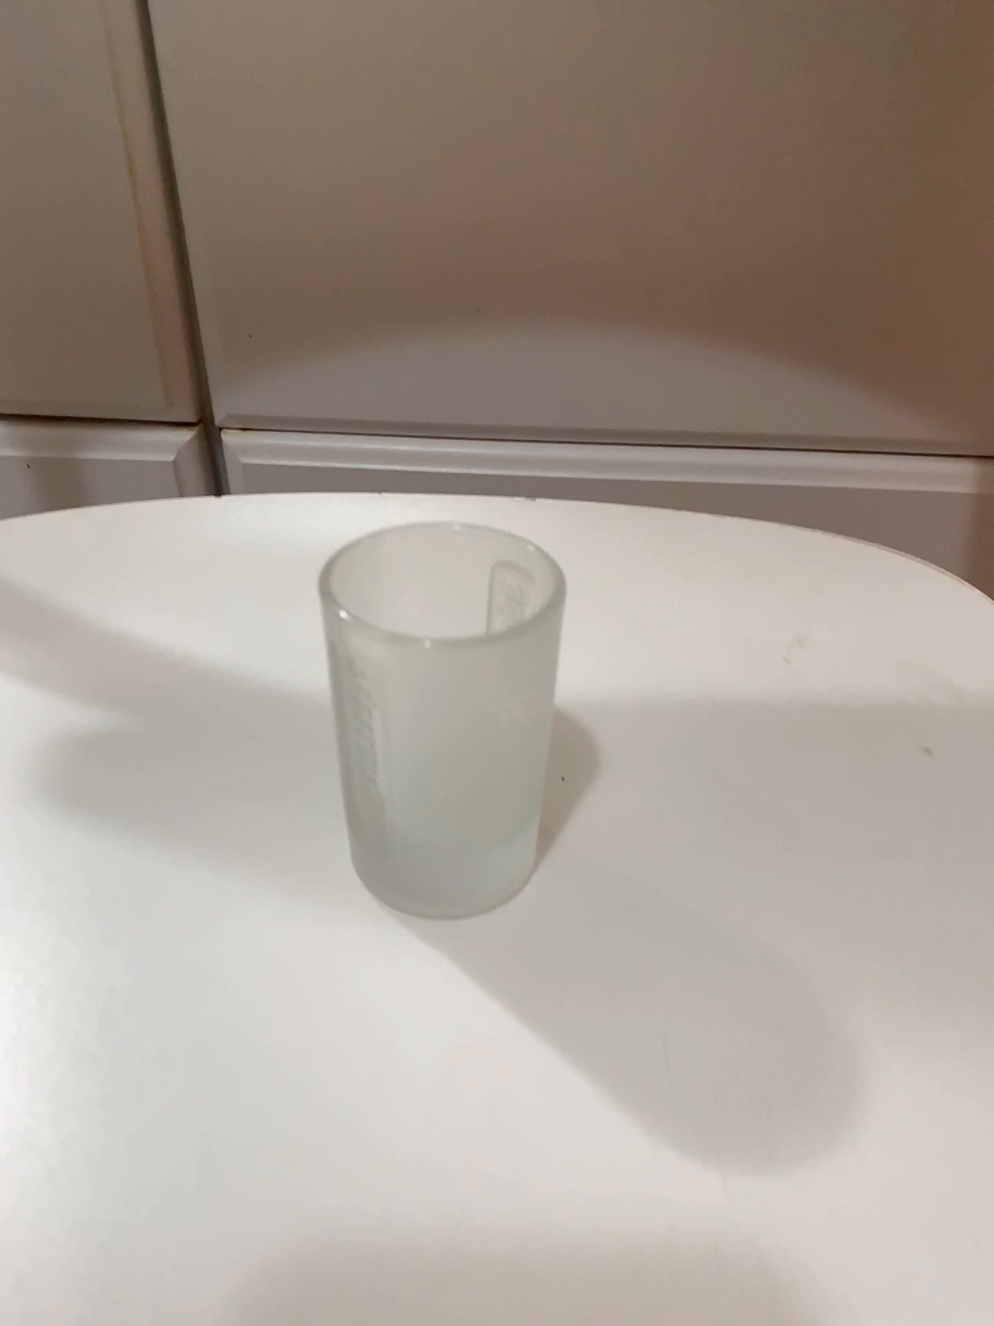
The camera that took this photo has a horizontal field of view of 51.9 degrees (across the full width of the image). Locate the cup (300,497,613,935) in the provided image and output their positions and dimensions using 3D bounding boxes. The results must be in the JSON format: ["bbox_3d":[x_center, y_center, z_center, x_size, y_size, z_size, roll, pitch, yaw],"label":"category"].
[{"bbox_3d":[-0.007,0.012,0.200,0.049,0.075,0.042,0,36,0],"label":"cup"}]
